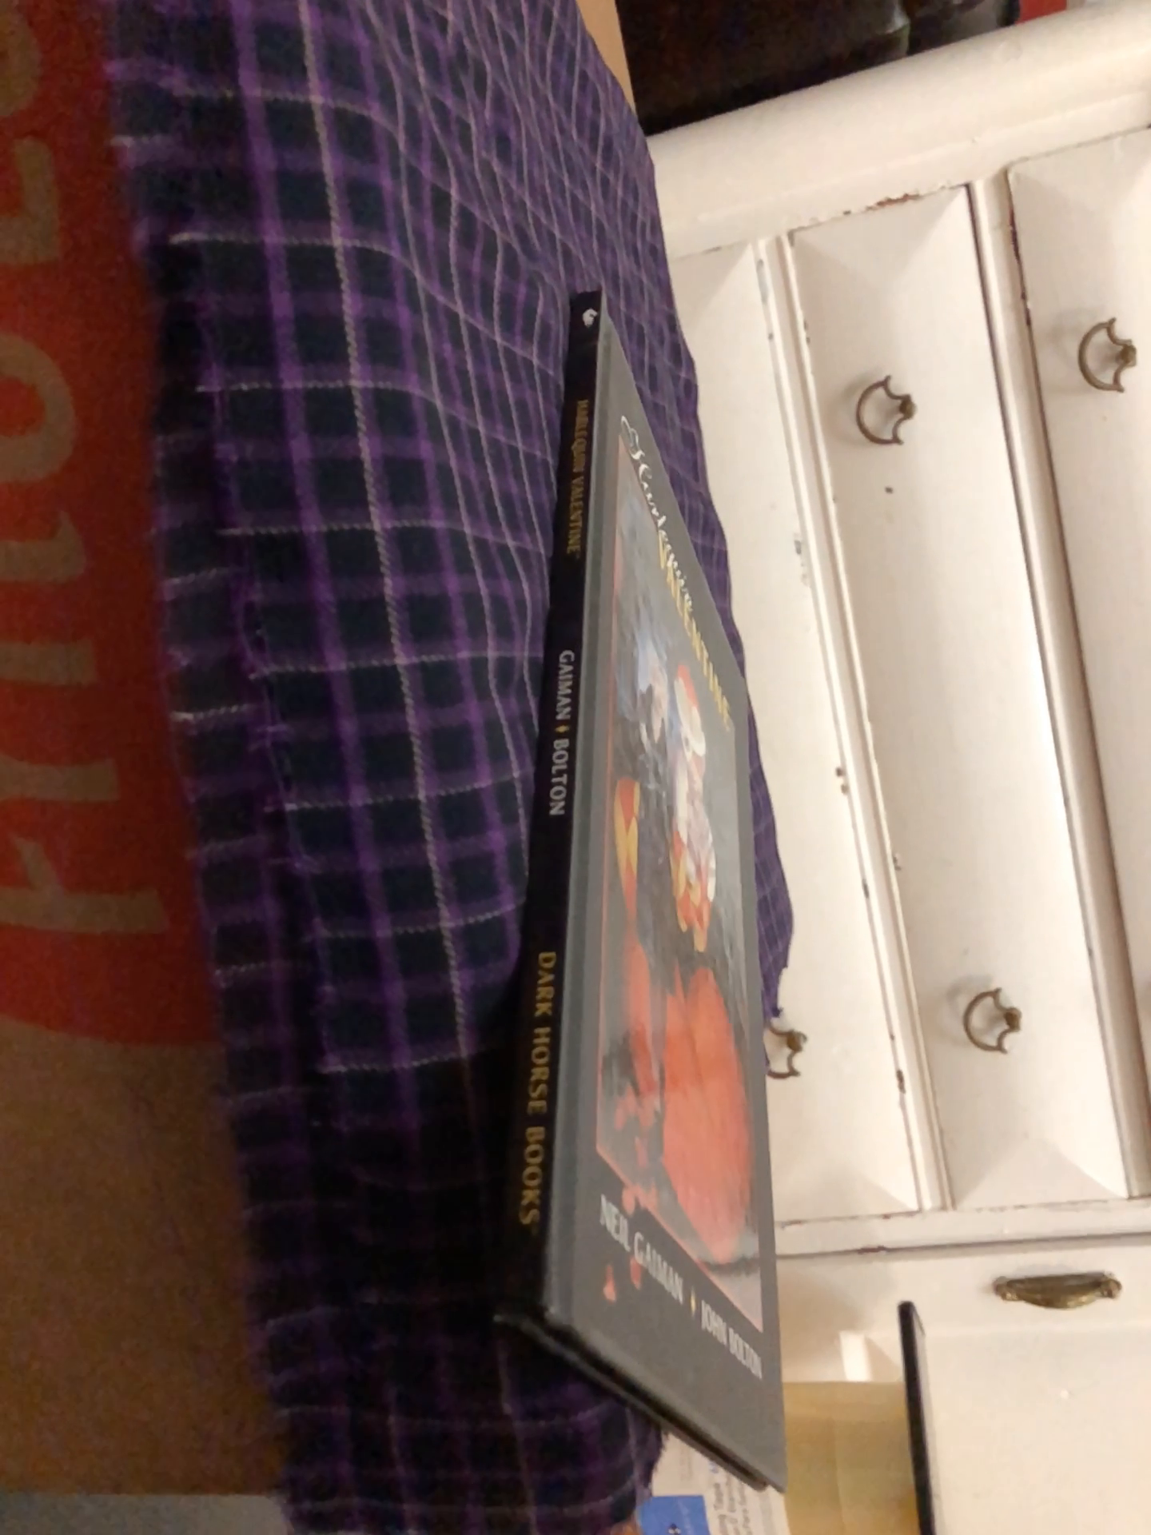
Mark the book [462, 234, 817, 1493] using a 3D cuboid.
[{"bbox_3d":[0.026,0.020,0.337,0.180,0.020,0.281,60,25,-49],"label":"book"}]
